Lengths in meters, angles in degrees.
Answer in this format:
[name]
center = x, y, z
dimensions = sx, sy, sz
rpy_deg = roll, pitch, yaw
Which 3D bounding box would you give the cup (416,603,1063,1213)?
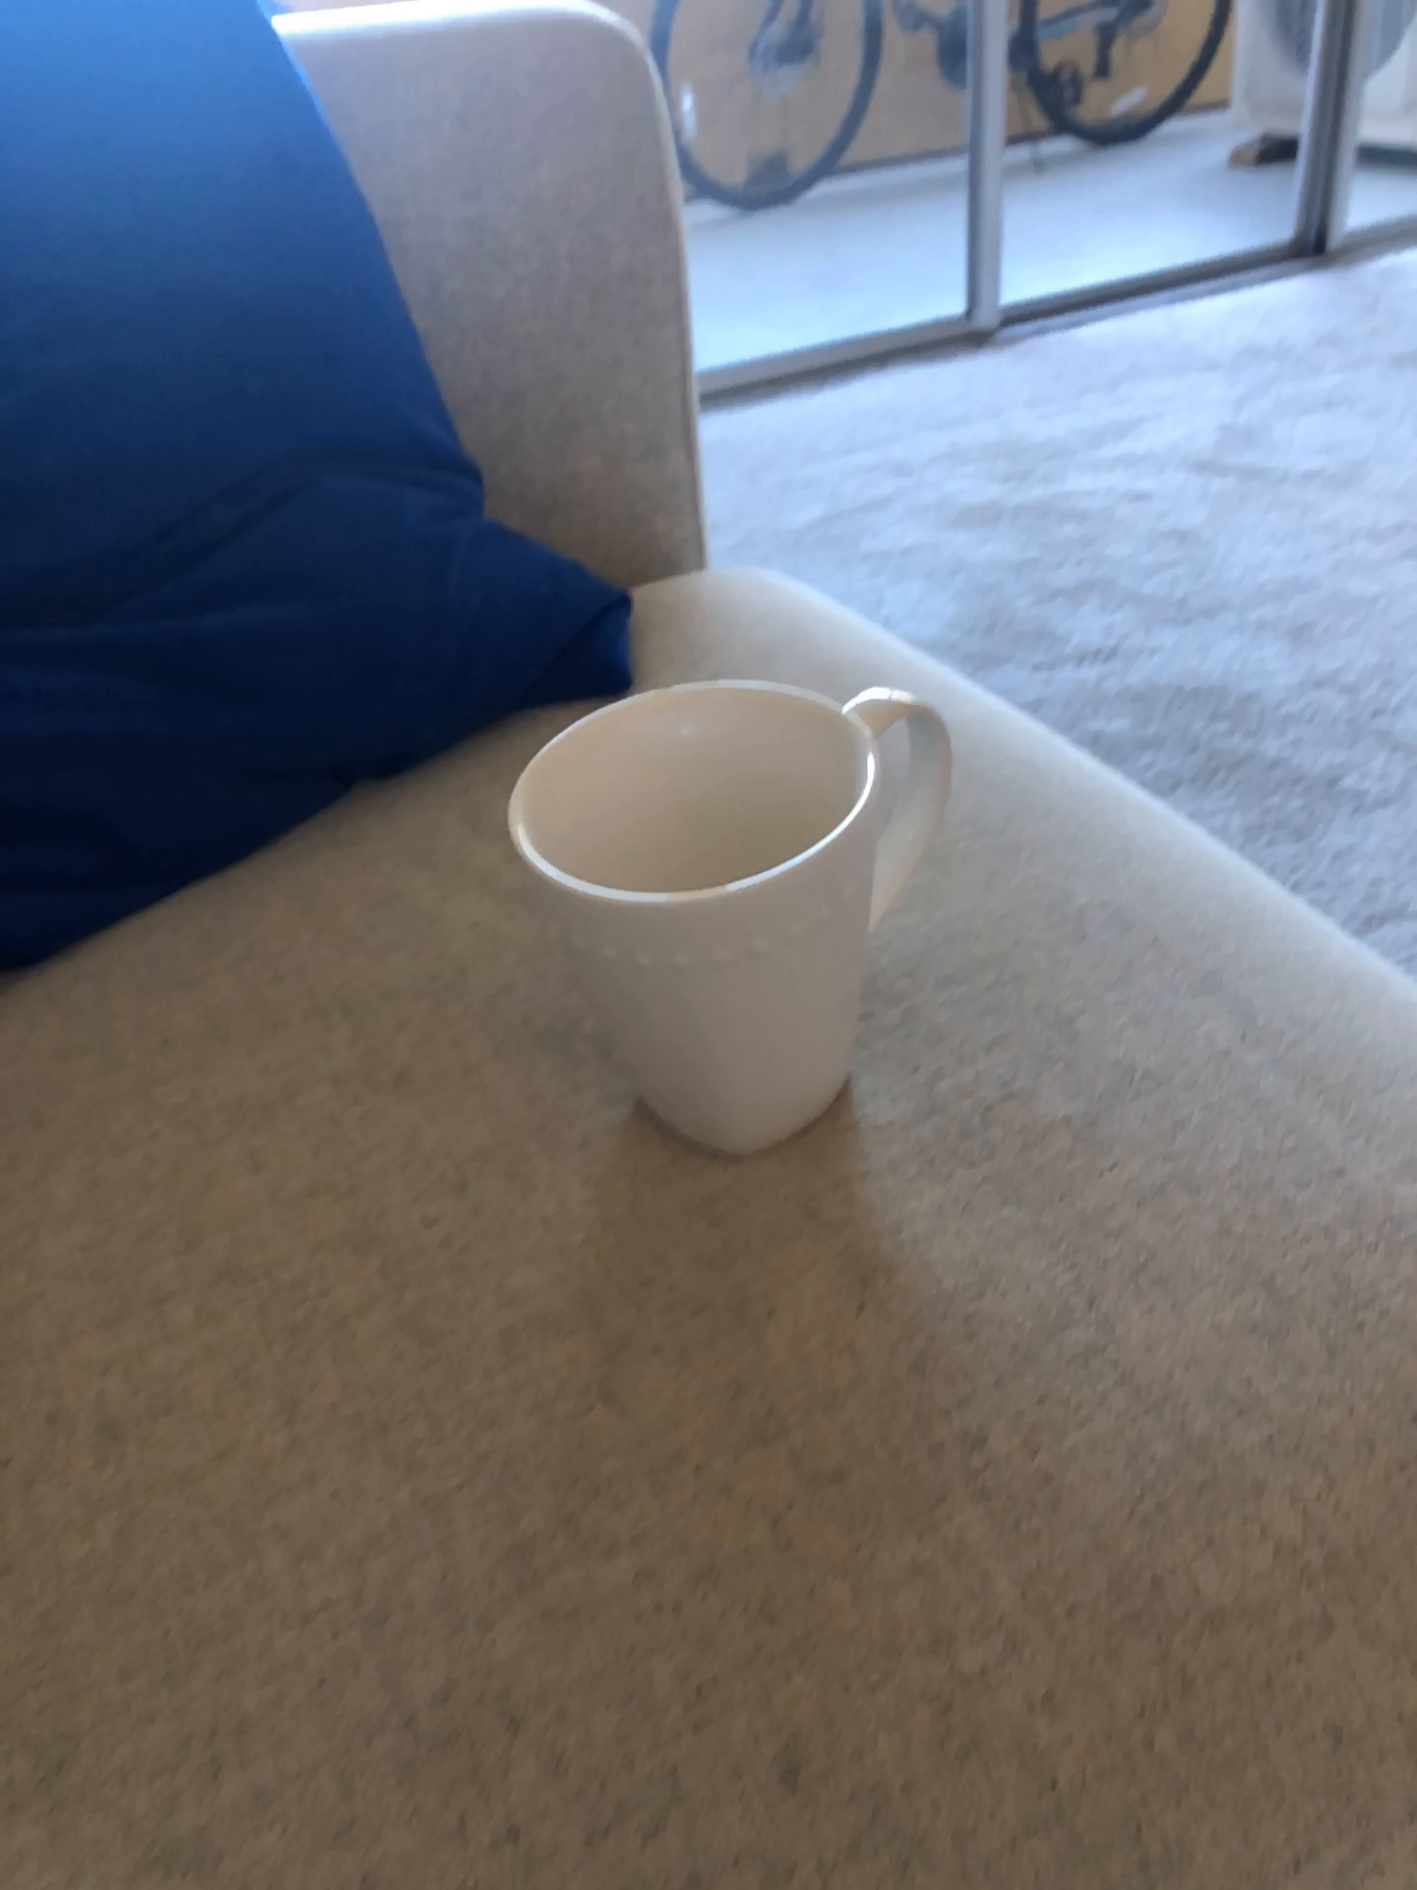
[cup]
center = 0.010, -0.017, 0.424
dimensions = 0.130, 0.090, 0.100
rpy_deg = -24, 38, -25
